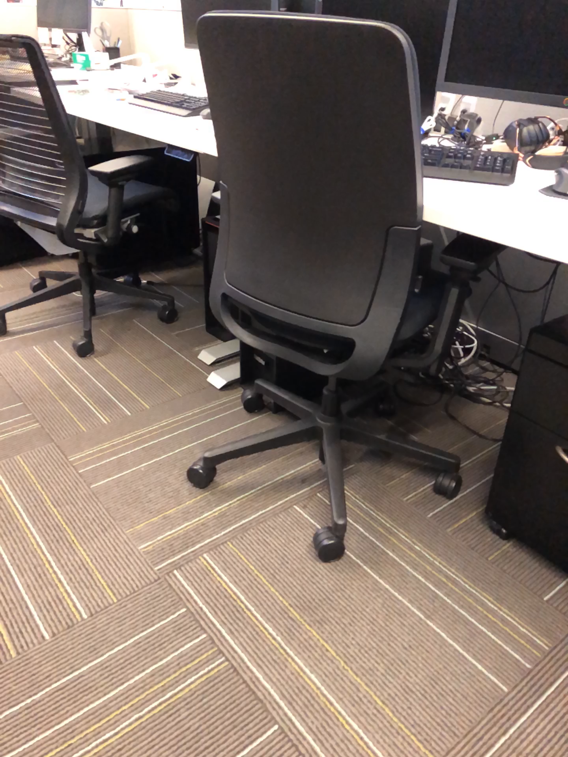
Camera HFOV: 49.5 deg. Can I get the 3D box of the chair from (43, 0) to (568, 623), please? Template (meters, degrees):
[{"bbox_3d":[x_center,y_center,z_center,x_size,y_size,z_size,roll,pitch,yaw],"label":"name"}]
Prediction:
[{"bbox_3d":[0.024,-0.234,1.362,0.662,1.014,0.782,-21,37,-34],"label":"chair"}]
